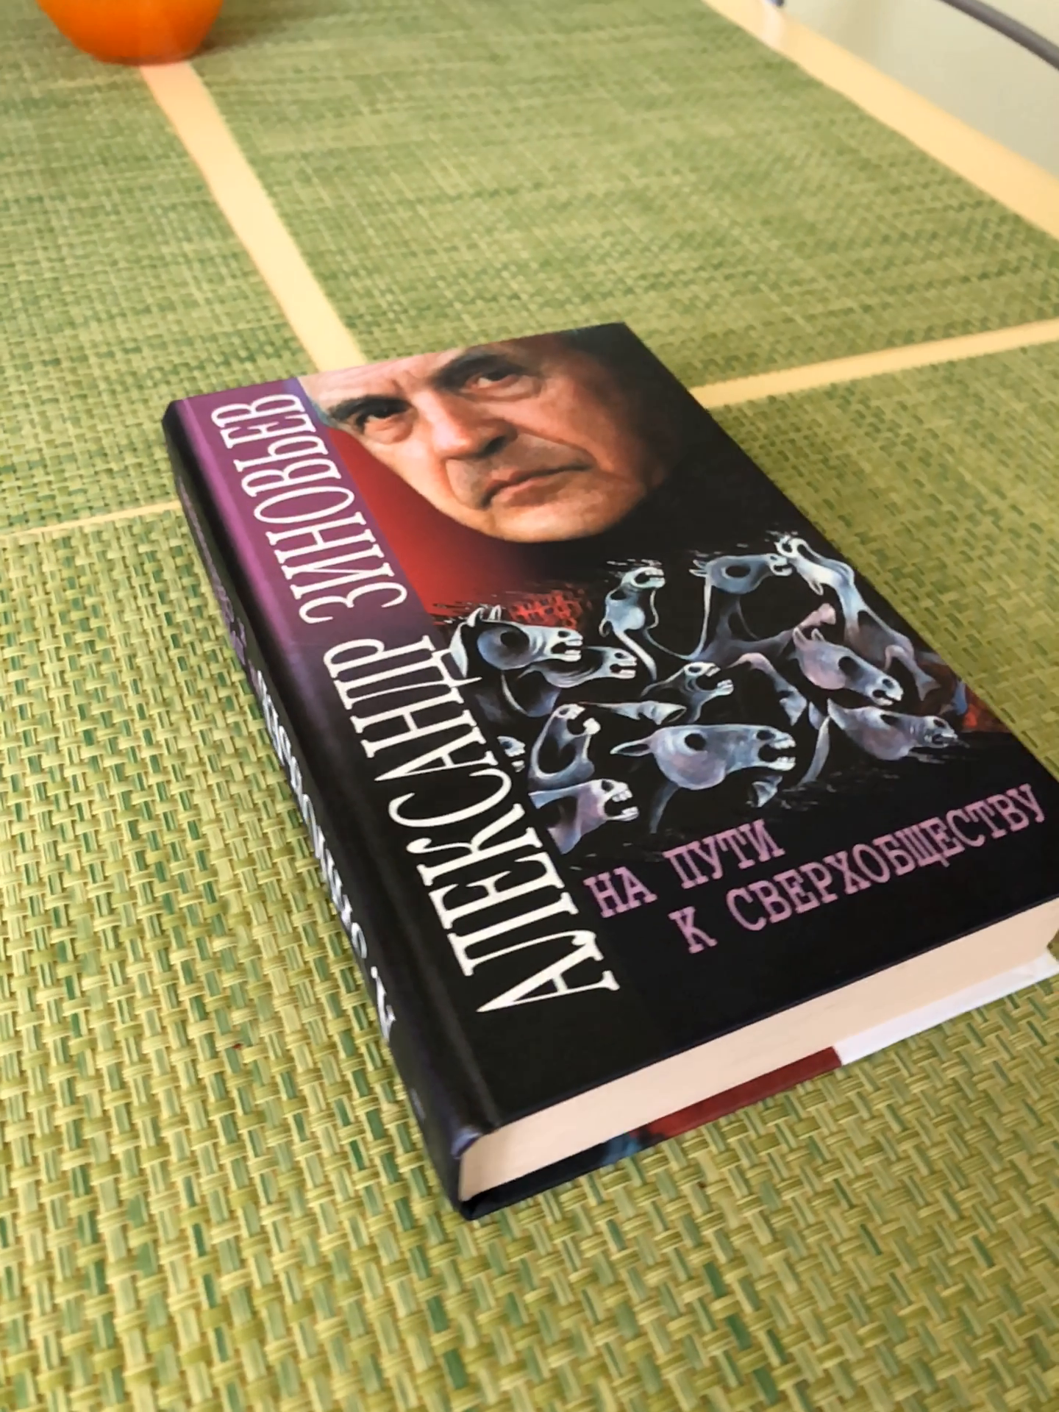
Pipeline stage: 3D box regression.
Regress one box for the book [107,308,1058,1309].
[{"bbox_3d":[0.009,-0.009,0.253,0.150,0.040,0.201,-15,50,-19],"label":"book"}]
